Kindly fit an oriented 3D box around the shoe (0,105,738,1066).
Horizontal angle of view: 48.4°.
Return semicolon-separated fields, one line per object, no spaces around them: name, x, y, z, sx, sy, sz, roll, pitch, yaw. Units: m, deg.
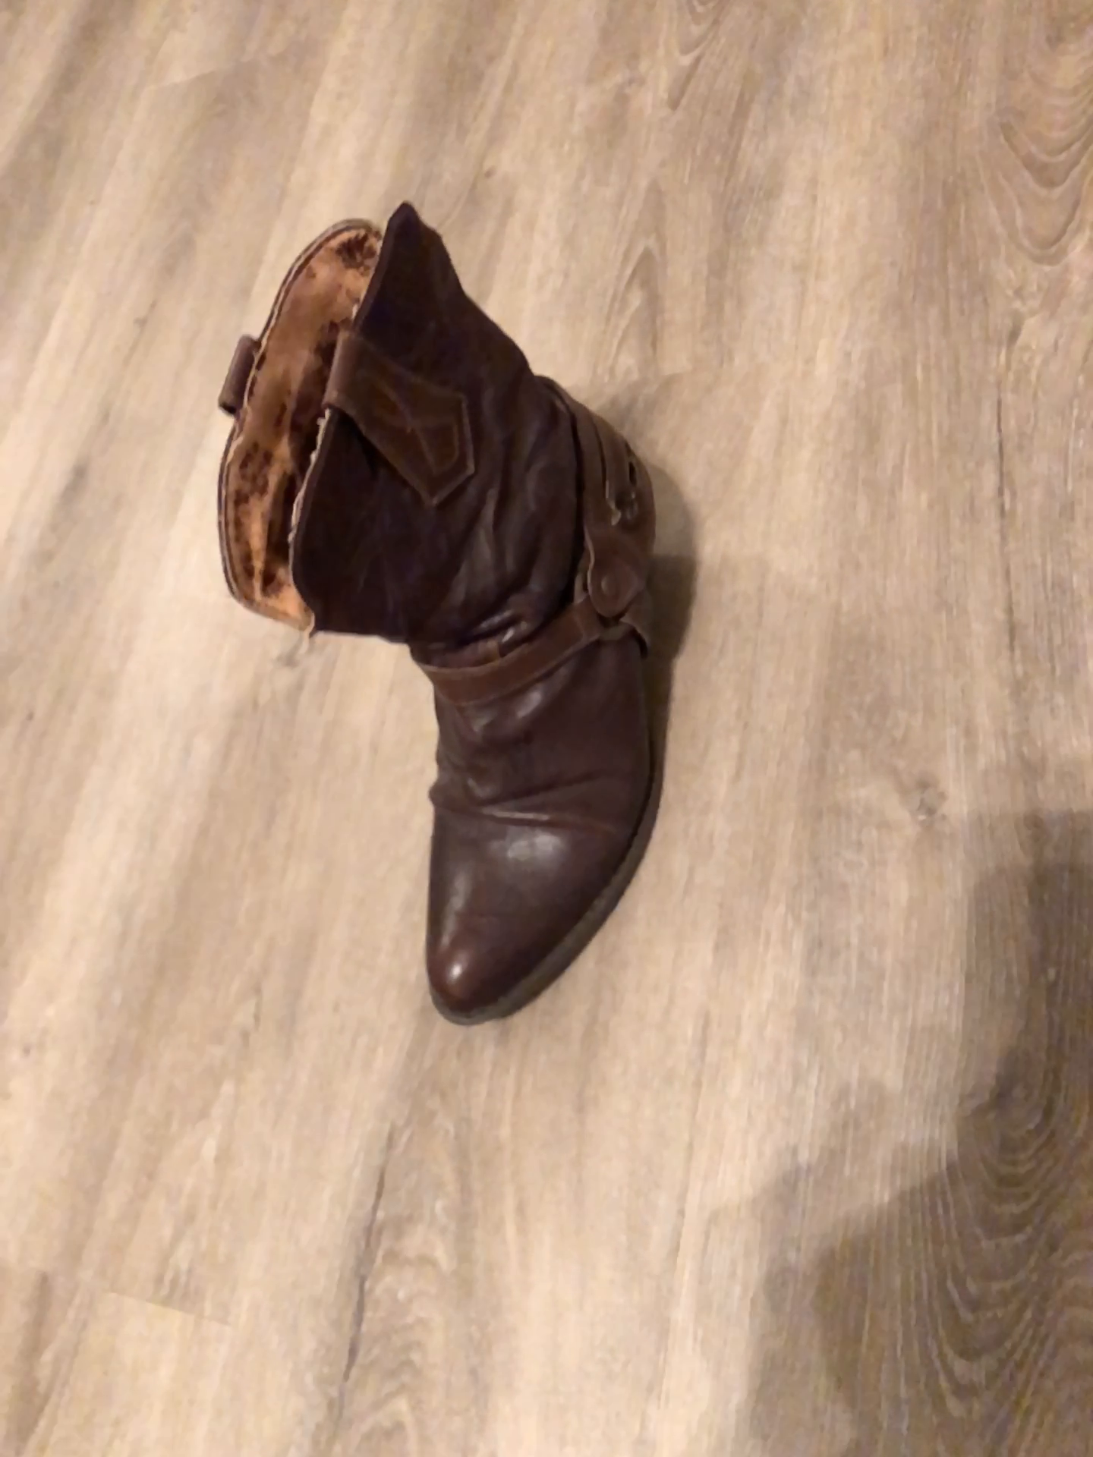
shoe;-0.033;-0.032;0.422;0.100;0.209;0.240;4;68;28
